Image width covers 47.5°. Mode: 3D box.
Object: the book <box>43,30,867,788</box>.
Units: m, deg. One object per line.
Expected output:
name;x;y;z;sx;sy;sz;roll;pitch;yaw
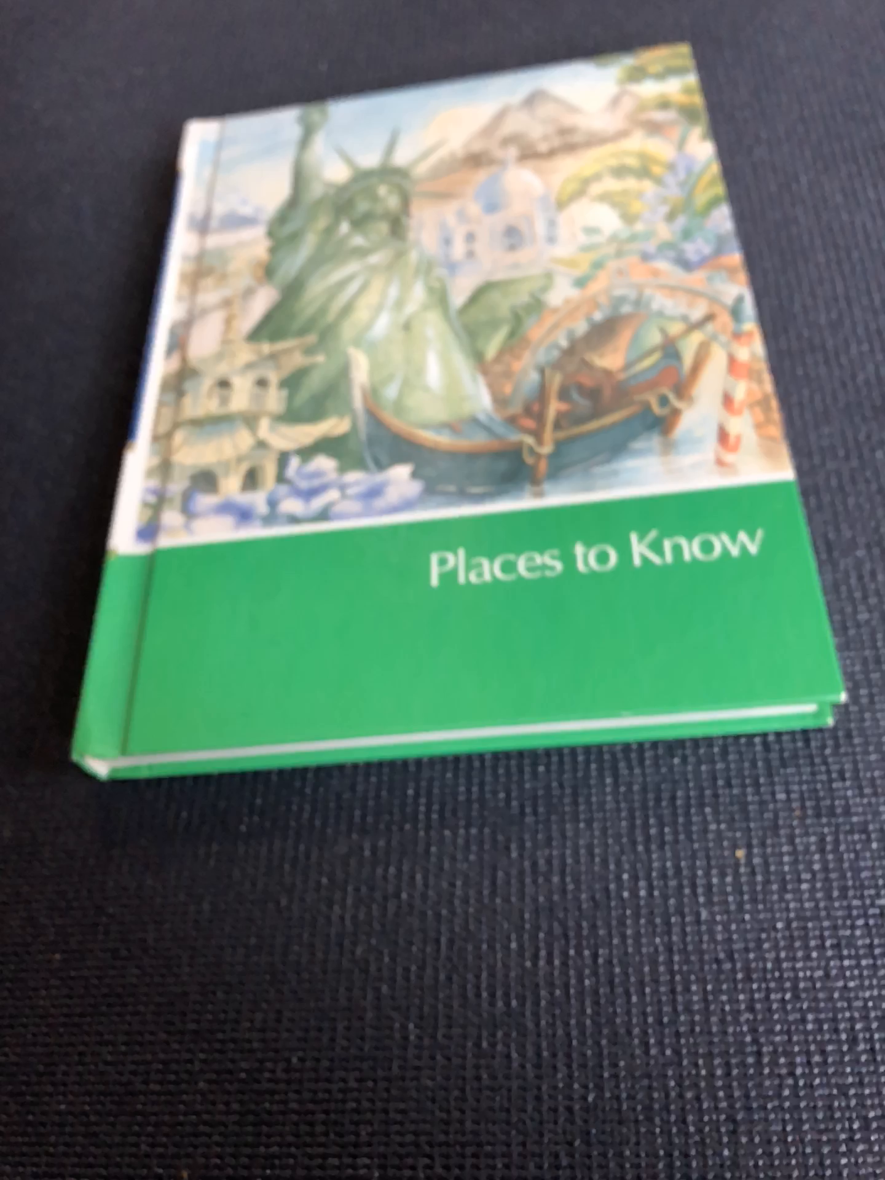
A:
book;-0.002;-0.071;0.307;0.190;0.030;0.250;-5;59;6
